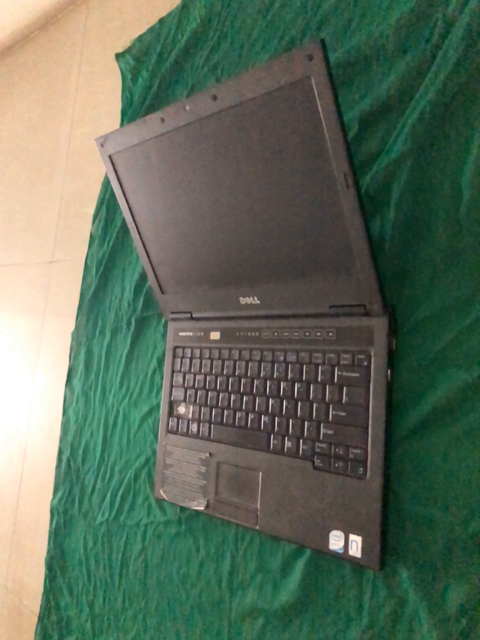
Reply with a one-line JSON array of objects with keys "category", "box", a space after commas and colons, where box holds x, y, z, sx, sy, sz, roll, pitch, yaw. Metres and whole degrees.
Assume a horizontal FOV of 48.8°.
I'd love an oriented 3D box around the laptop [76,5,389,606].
[{"category": "laptop", "box": [-0.025, -0.001, 0.541, 0.315, 0.126, 0.438, -1, 87, 44]}]
